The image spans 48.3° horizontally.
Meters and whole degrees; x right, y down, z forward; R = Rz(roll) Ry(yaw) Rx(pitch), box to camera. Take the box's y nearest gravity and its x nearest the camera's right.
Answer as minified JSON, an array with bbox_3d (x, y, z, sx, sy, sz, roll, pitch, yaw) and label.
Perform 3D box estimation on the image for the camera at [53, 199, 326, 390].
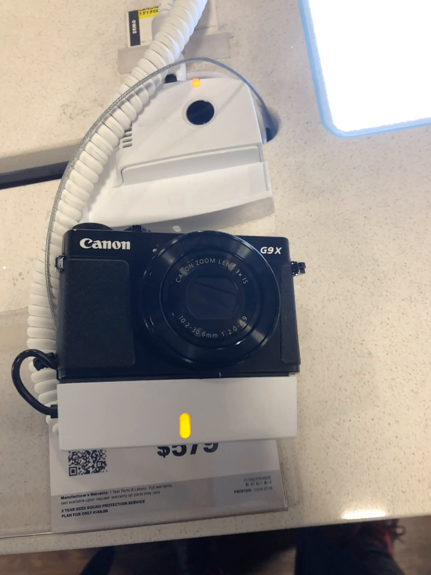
[{"bbox_3d":[-0.010,0.003,0.193,0.100,0.020,0.070,0,73,-12],"label":"camera"}]
